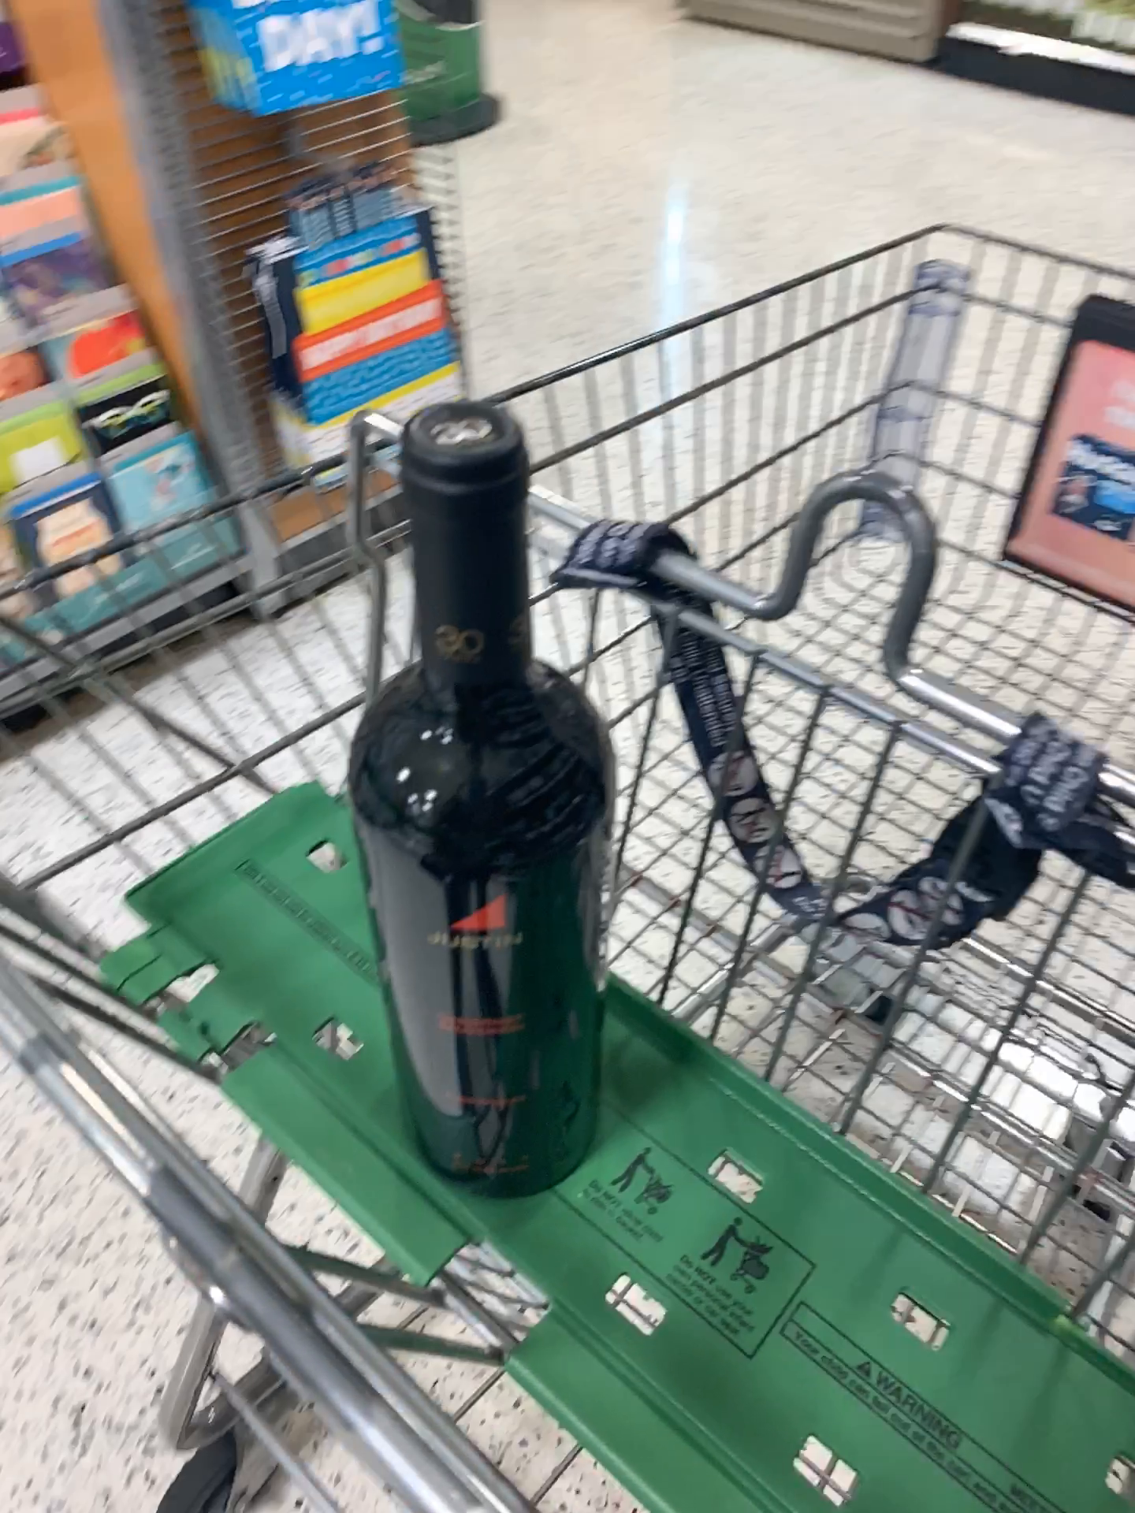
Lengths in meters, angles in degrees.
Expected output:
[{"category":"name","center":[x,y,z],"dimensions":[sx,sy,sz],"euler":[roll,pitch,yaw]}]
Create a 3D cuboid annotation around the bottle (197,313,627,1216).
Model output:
[{"category":"bottle","center":[-0.027,0.031,0.348],"dimensions":[0.080,0.297,0.081],"euler":[0,44,0]}]
